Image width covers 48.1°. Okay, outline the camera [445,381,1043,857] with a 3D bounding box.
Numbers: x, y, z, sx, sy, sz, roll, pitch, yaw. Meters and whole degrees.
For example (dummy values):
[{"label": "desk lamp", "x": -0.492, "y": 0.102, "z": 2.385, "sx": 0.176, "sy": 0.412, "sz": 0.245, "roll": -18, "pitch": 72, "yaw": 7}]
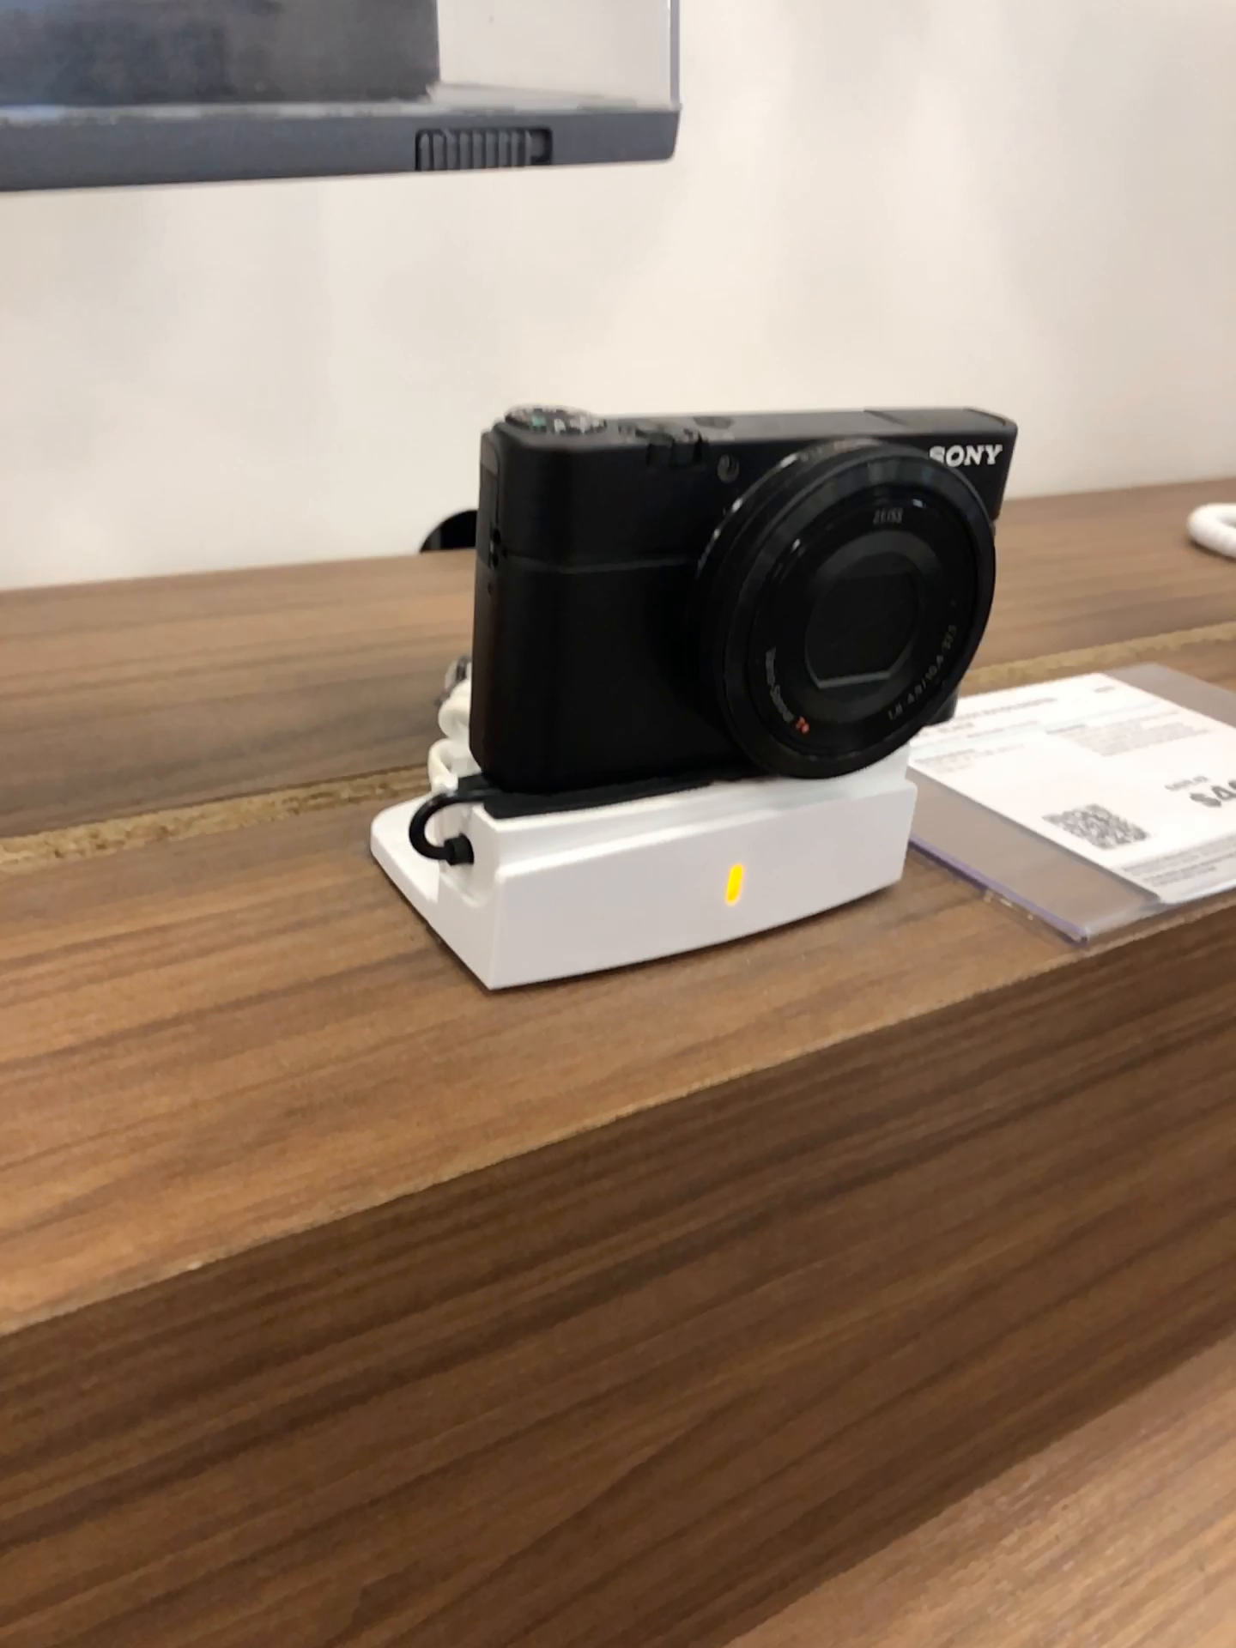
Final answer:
[{"label": "camera", "x": 0.022, "y": -0.040, "z": 0.251, "sx": 0.100, "sy": 0.070, "sz": 0.030, "roll": -11, "pitch": 33, "yaw": -29}]
